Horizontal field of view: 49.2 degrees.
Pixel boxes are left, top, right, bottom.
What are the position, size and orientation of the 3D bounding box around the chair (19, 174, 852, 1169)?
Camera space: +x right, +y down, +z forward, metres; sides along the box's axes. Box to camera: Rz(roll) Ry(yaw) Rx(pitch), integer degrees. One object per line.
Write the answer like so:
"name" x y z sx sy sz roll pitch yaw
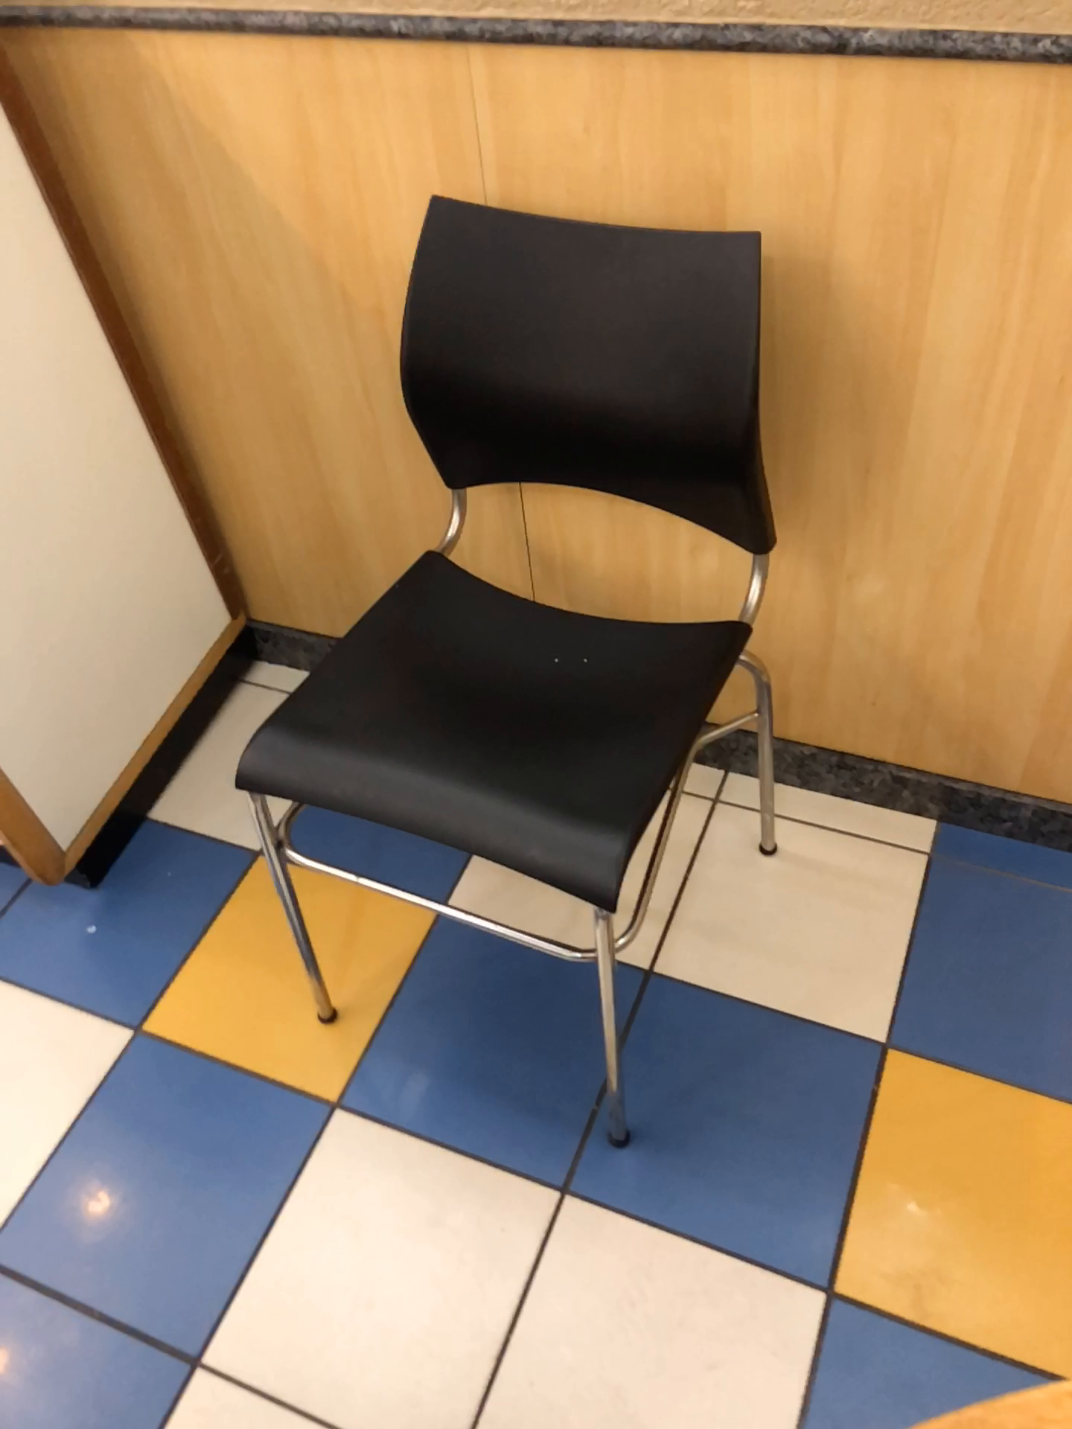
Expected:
"chair" -0.018 -0.023 1.308 0.510 0.875 0.553 16 50 21
